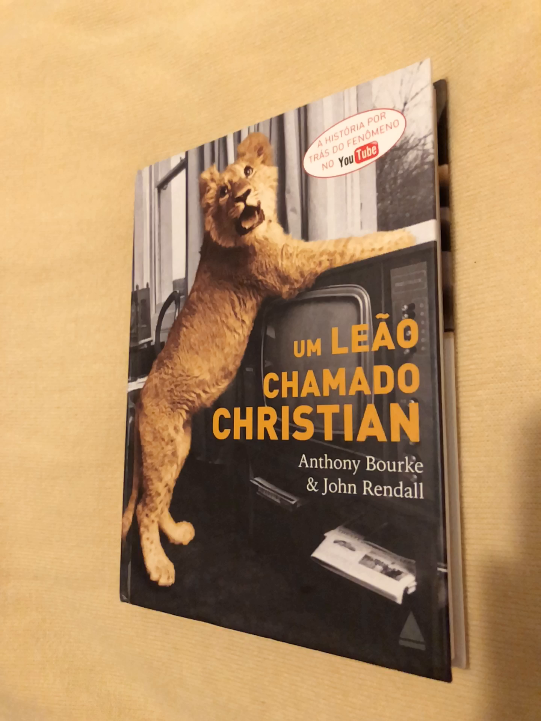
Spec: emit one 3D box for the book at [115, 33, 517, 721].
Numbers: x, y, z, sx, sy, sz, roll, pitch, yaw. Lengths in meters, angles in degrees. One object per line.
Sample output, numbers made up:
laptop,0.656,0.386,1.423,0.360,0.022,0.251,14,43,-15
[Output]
book,0.008,0.004,0.229,0.151,0.030,0.200,-6,77,39
